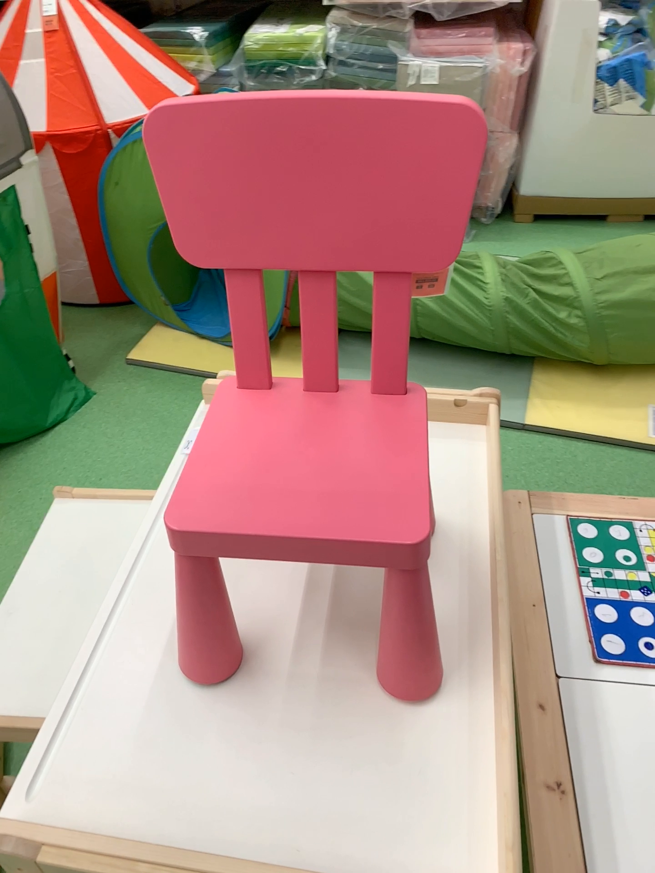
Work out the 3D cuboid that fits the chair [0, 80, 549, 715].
[{"bbox_3d":[-0.034,-0.036,0.780,0.420,0.598,0.401,4,41,7],"label":"chair"}]
